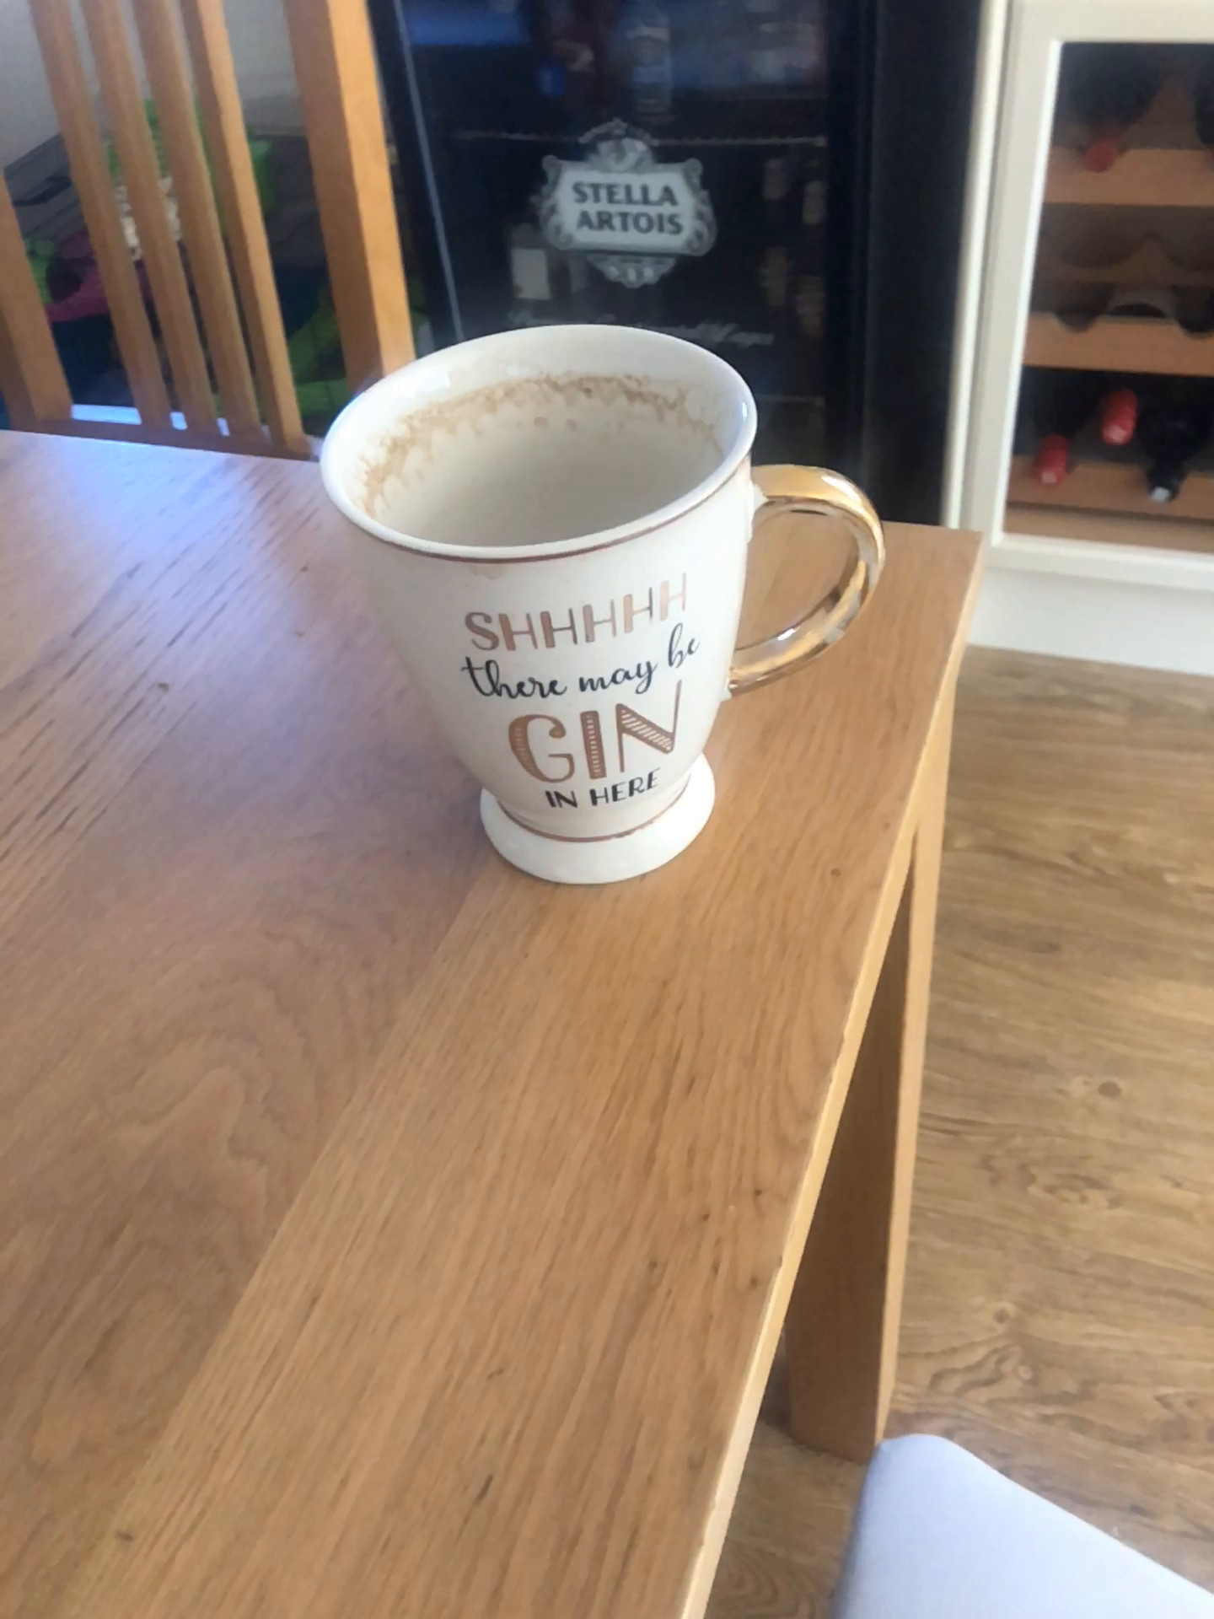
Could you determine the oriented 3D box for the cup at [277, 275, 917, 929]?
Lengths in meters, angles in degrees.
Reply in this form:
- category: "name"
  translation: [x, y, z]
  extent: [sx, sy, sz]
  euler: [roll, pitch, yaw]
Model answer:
- category: "cup"
  translation: [-0.002, -0.055, 0.356]
  extent: [0.134, 0.111, 0.109]
  euler: [-9, 45, 0]
